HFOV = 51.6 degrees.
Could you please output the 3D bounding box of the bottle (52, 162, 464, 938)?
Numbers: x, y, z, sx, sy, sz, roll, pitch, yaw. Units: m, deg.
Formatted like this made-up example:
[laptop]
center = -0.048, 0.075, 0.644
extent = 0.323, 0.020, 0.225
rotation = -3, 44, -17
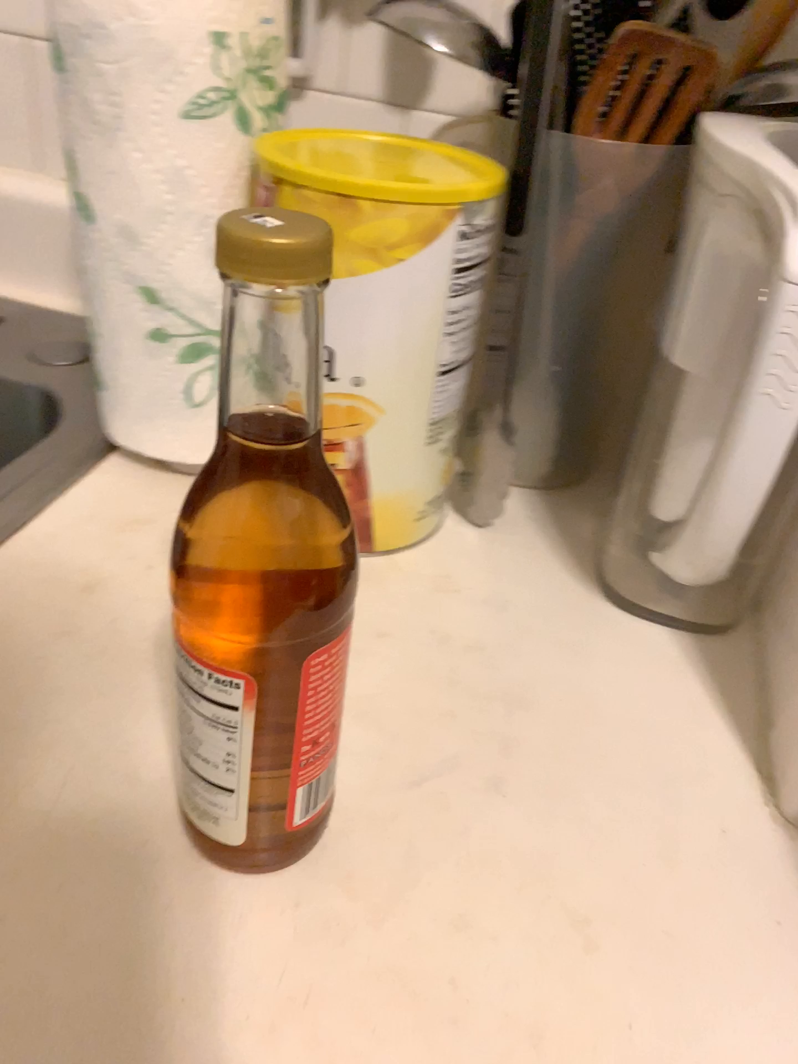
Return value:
[bottle]
center = -0.049, 0.018, 0.267
extent = 0.070, 0.239, 0.070
rotation = 6, 34, -4
